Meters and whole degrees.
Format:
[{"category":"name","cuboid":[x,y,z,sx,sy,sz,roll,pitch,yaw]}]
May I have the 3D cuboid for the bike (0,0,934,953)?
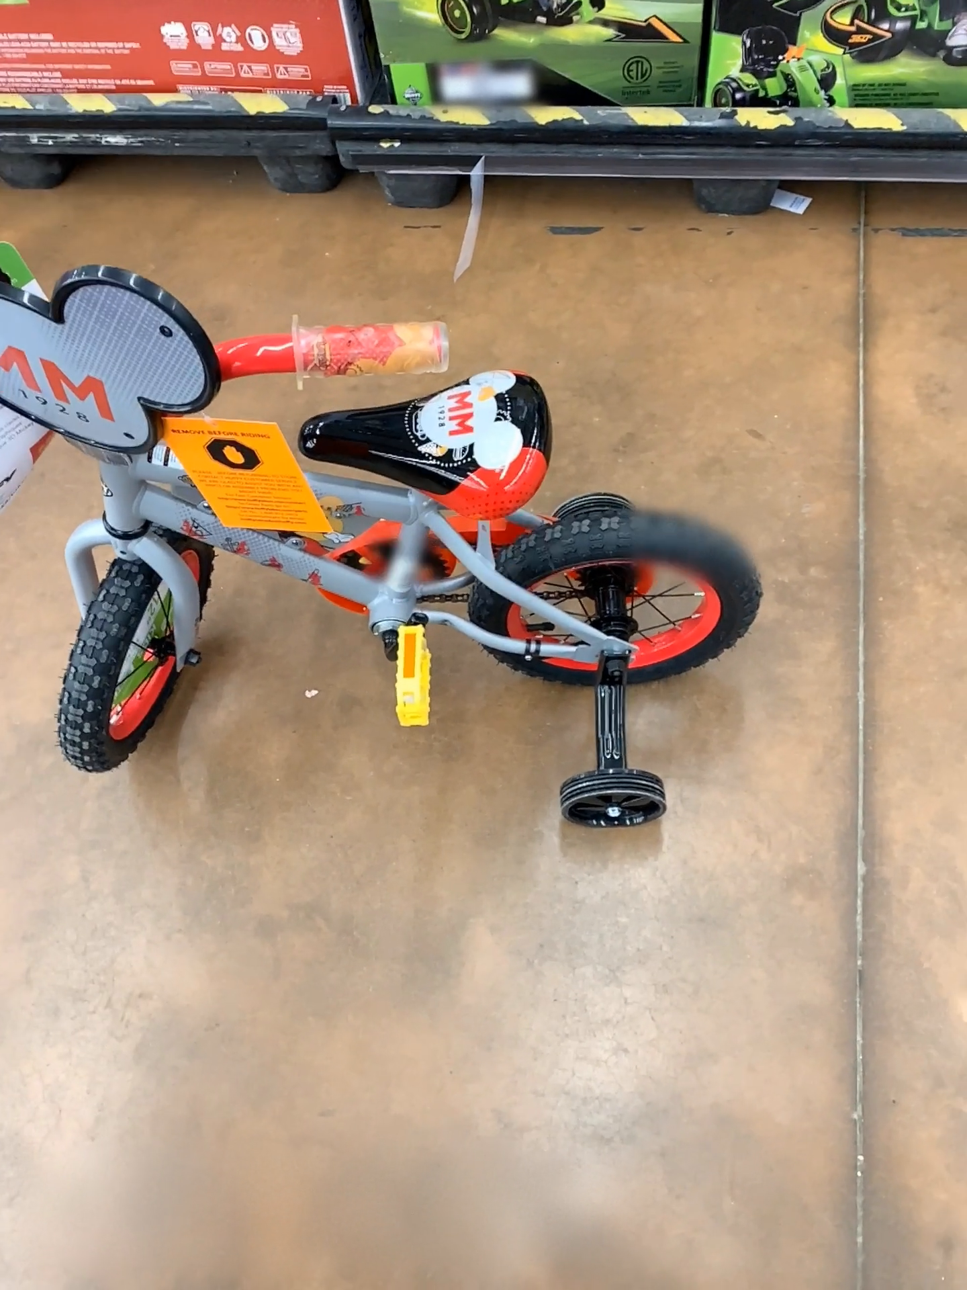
[{"category":"bike","cuboid":[-0.120,-0.110,0.848,0.640,0.689,0.453,-10,58,5]}]
